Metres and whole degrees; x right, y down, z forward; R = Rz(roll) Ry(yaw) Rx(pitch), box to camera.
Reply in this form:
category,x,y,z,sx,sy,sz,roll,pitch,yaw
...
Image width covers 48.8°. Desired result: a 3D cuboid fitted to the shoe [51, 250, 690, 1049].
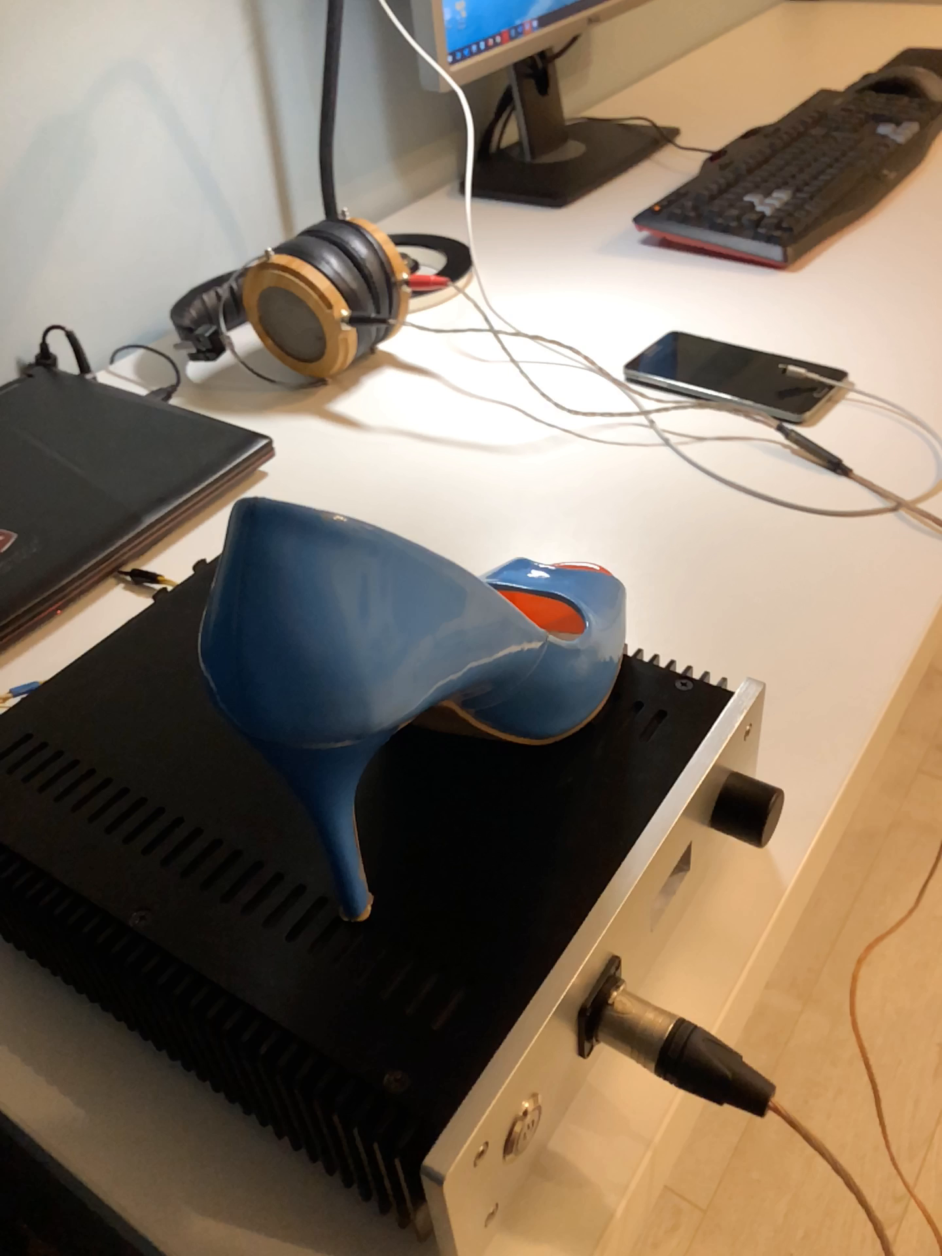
category,x,y,z,sx,sy,sz,roll,pitch,yaw
shoe,-0.006,-0.009,0.348,0.080,0.149,0.221,15,44,24
